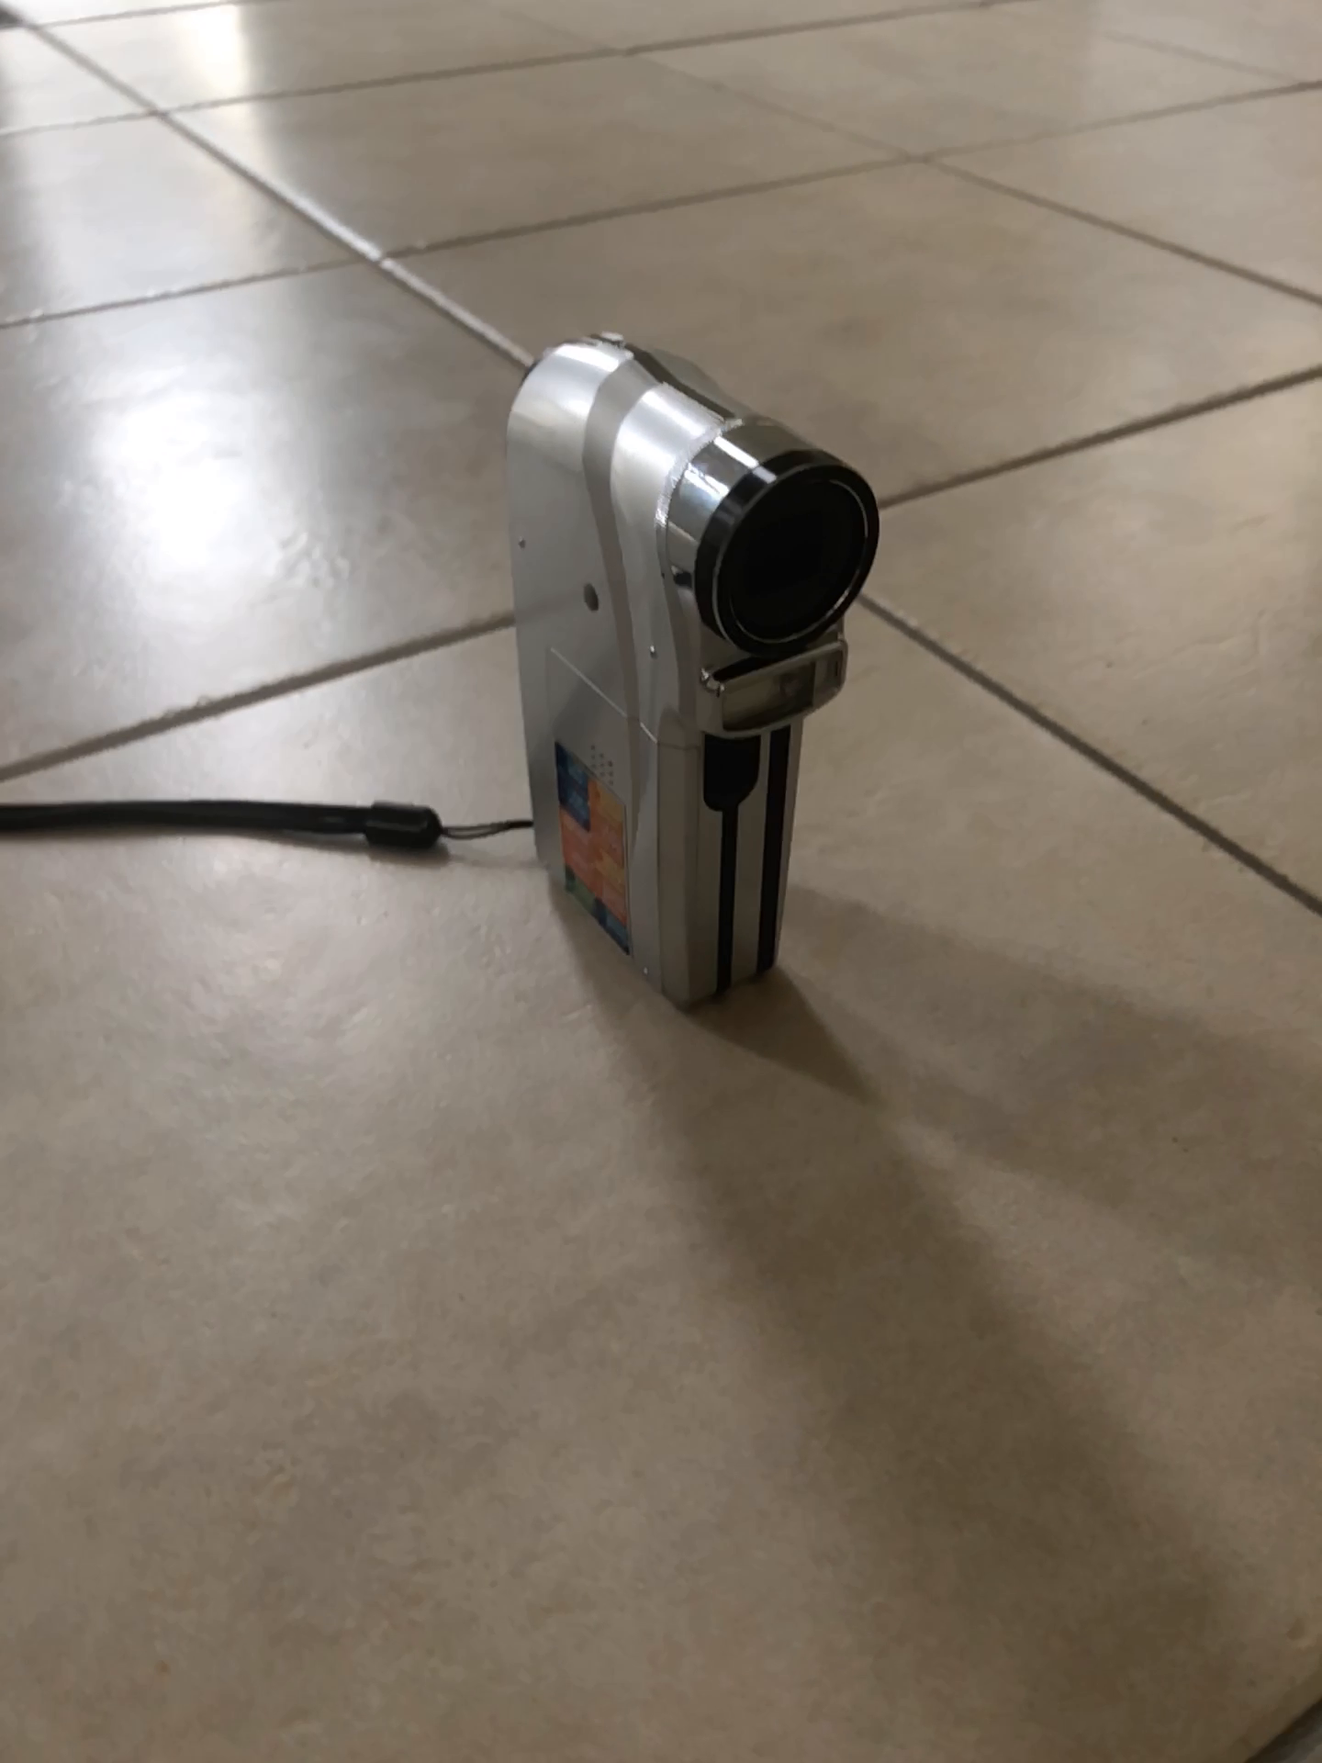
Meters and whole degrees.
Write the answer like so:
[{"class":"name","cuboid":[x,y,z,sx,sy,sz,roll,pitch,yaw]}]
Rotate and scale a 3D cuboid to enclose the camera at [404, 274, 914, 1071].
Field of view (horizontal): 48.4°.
[{"class":"camera","cuboid":[-0.003,-0.037,0.261,0.040,0.109,0.080,-24,45,-26]}]
